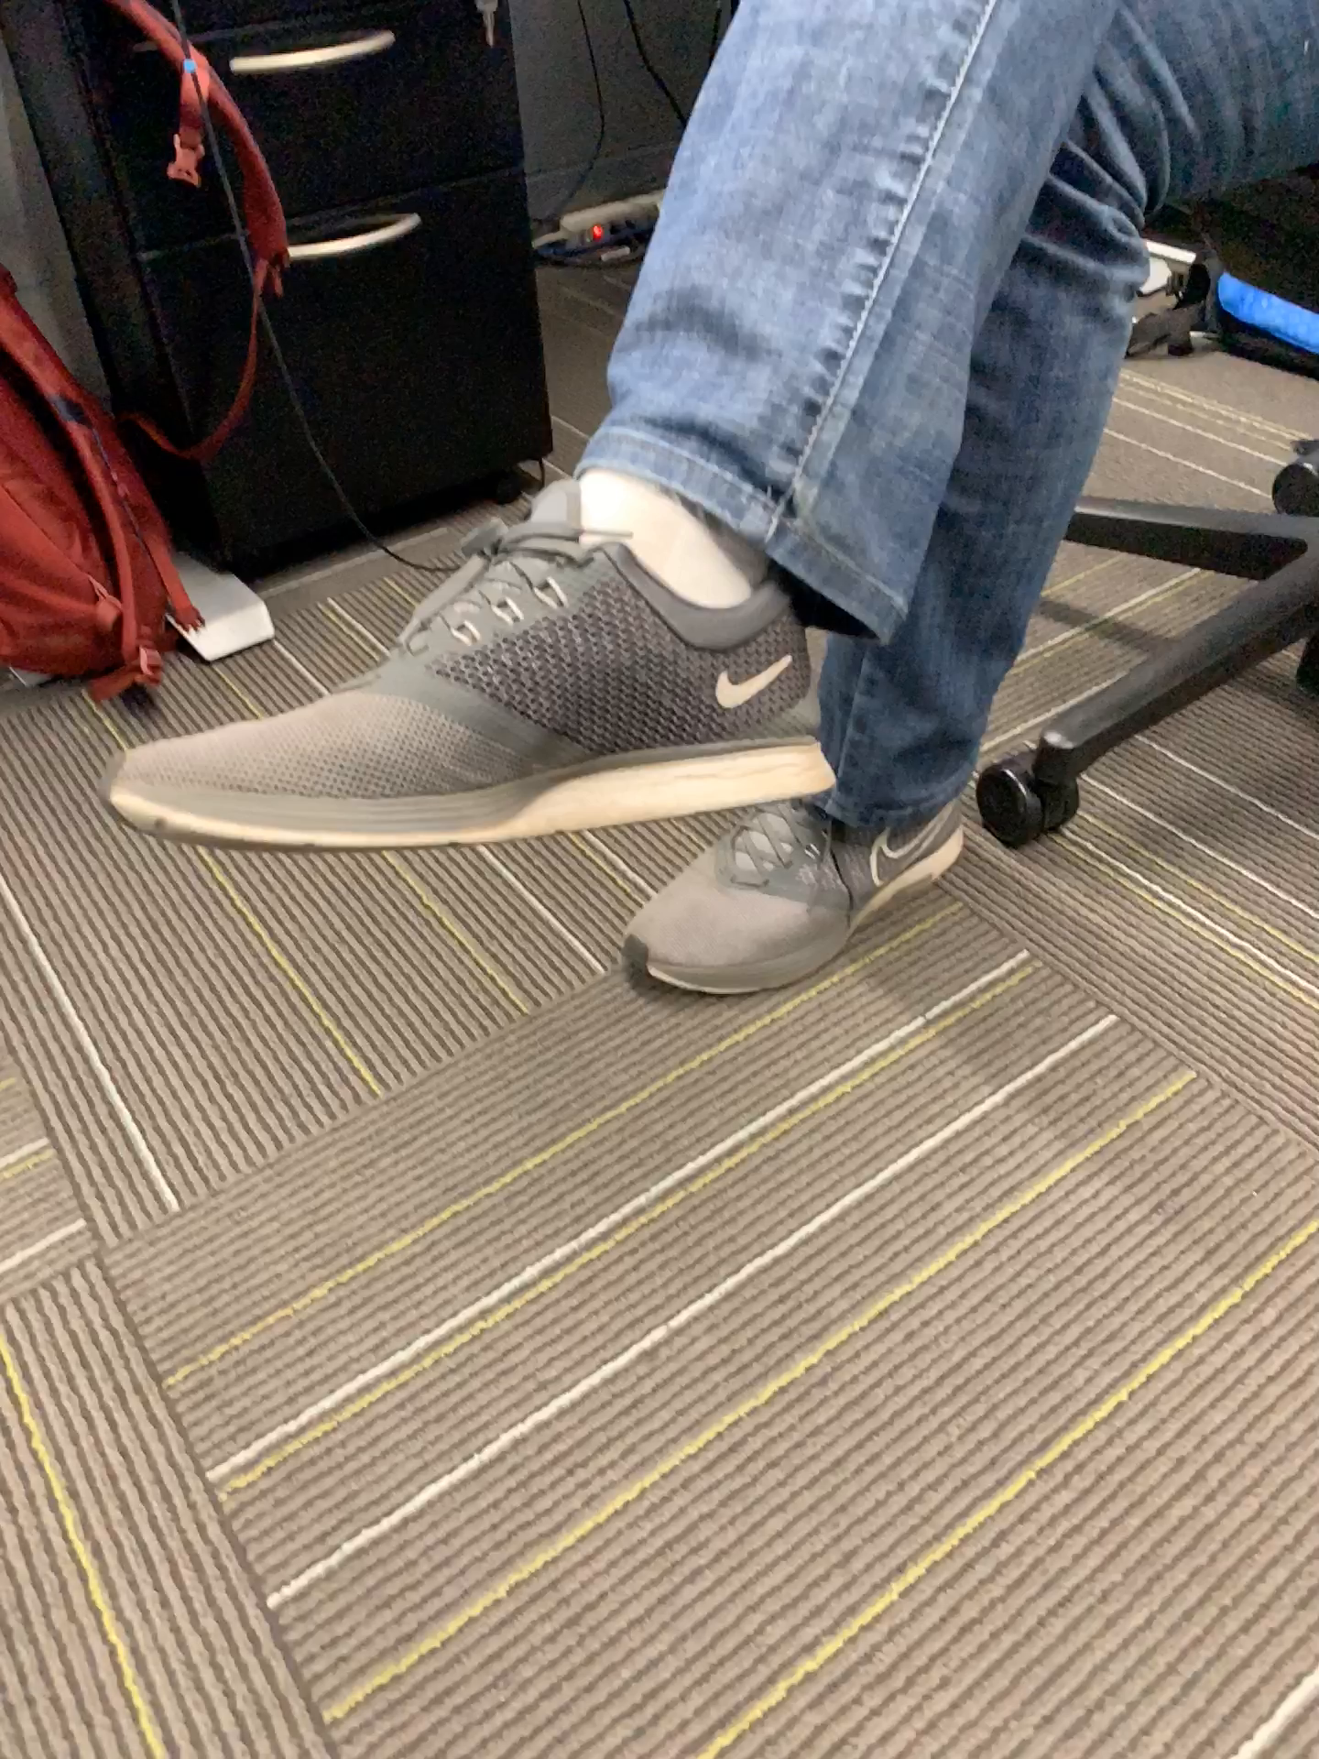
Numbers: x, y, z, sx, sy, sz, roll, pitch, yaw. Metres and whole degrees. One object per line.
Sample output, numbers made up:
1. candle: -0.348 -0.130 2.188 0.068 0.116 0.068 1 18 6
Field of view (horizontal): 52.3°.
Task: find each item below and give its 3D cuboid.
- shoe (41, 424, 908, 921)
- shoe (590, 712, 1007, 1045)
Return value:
1. shoe: -0.071 -0.082 0.542 0.295 0.143 0.122 -10 0 -19
2. shoe: 0.099 -0.008 0.949 0.269 0.085 0.120 -26 46 -24
